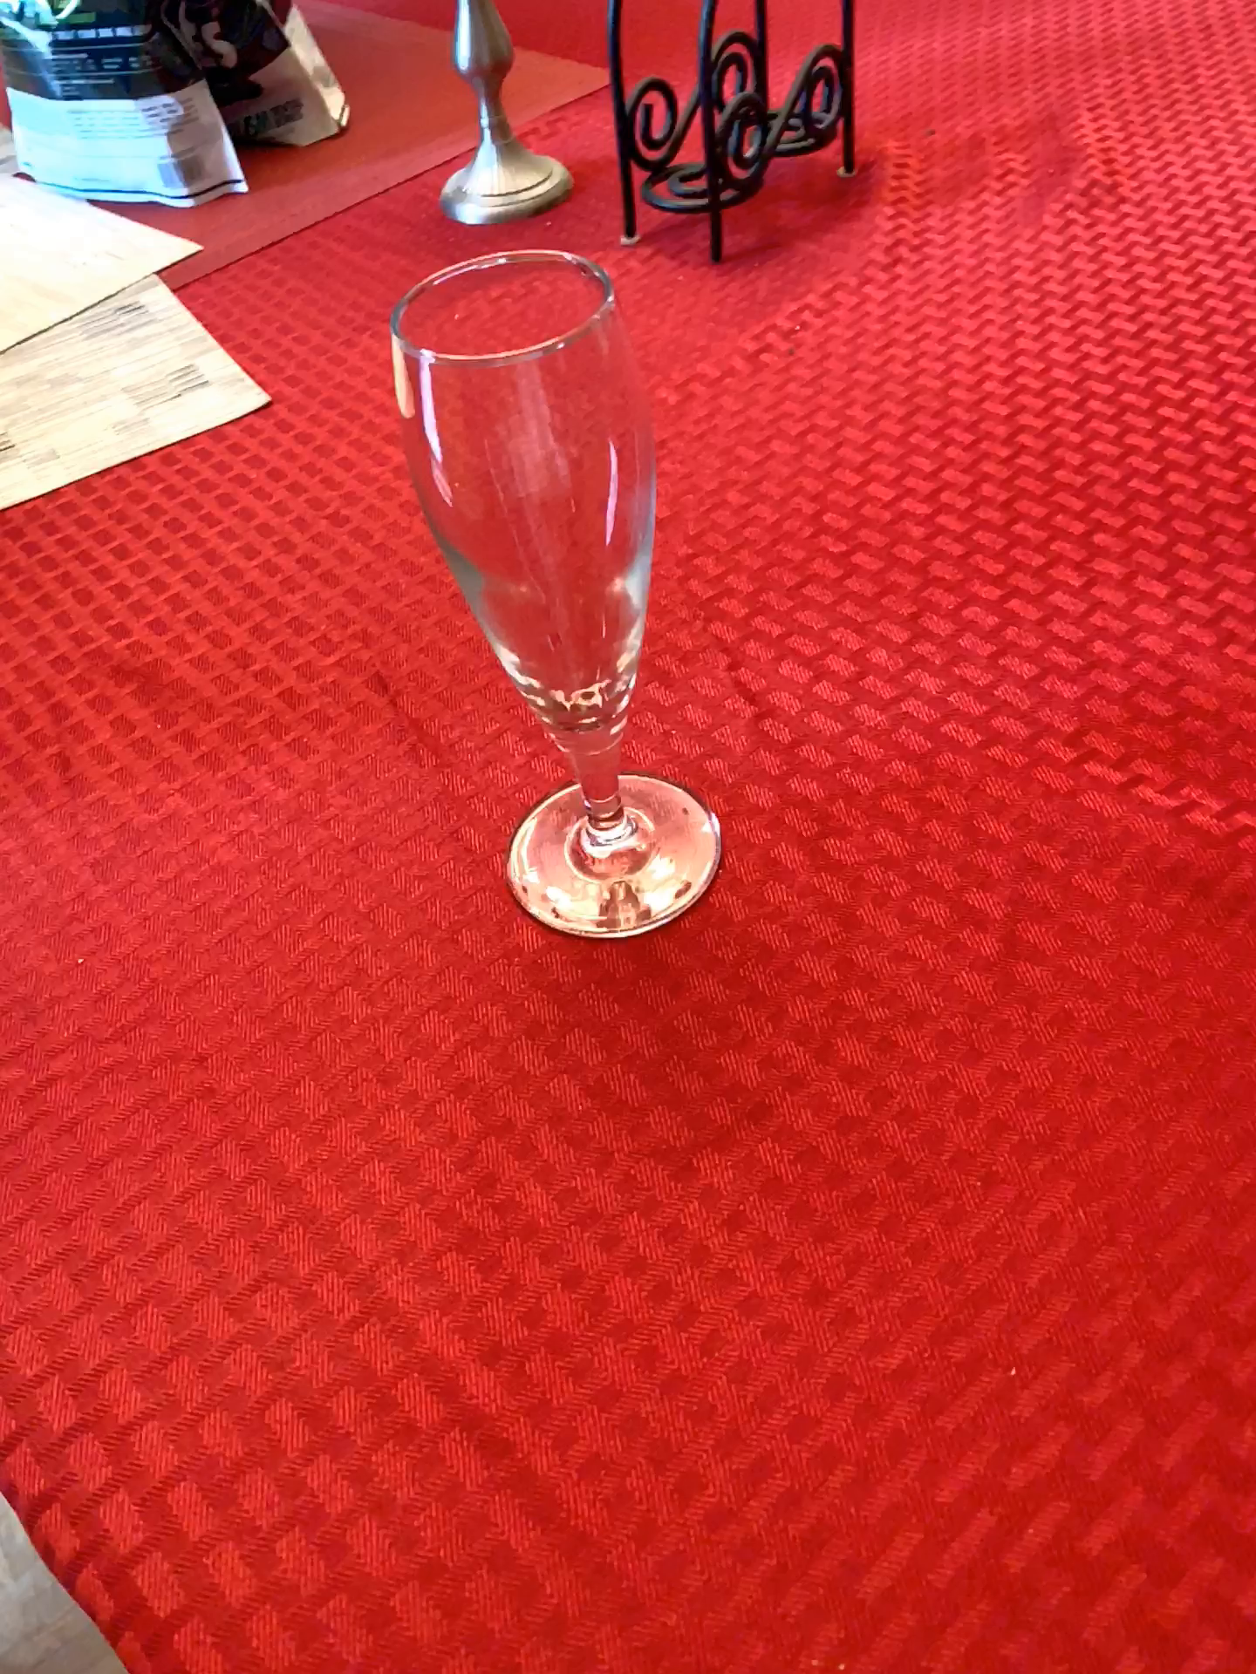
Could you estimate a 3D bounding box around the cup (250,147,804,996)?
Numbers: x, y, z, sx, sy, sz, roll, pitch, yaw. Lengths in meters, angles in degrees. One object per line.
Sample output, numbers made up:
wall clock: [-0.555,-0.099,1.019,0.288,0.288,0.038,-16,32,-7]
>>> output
cup: [-0.014,-0.057,0.328,0.080,0.179,0.080,-5,48,5]
